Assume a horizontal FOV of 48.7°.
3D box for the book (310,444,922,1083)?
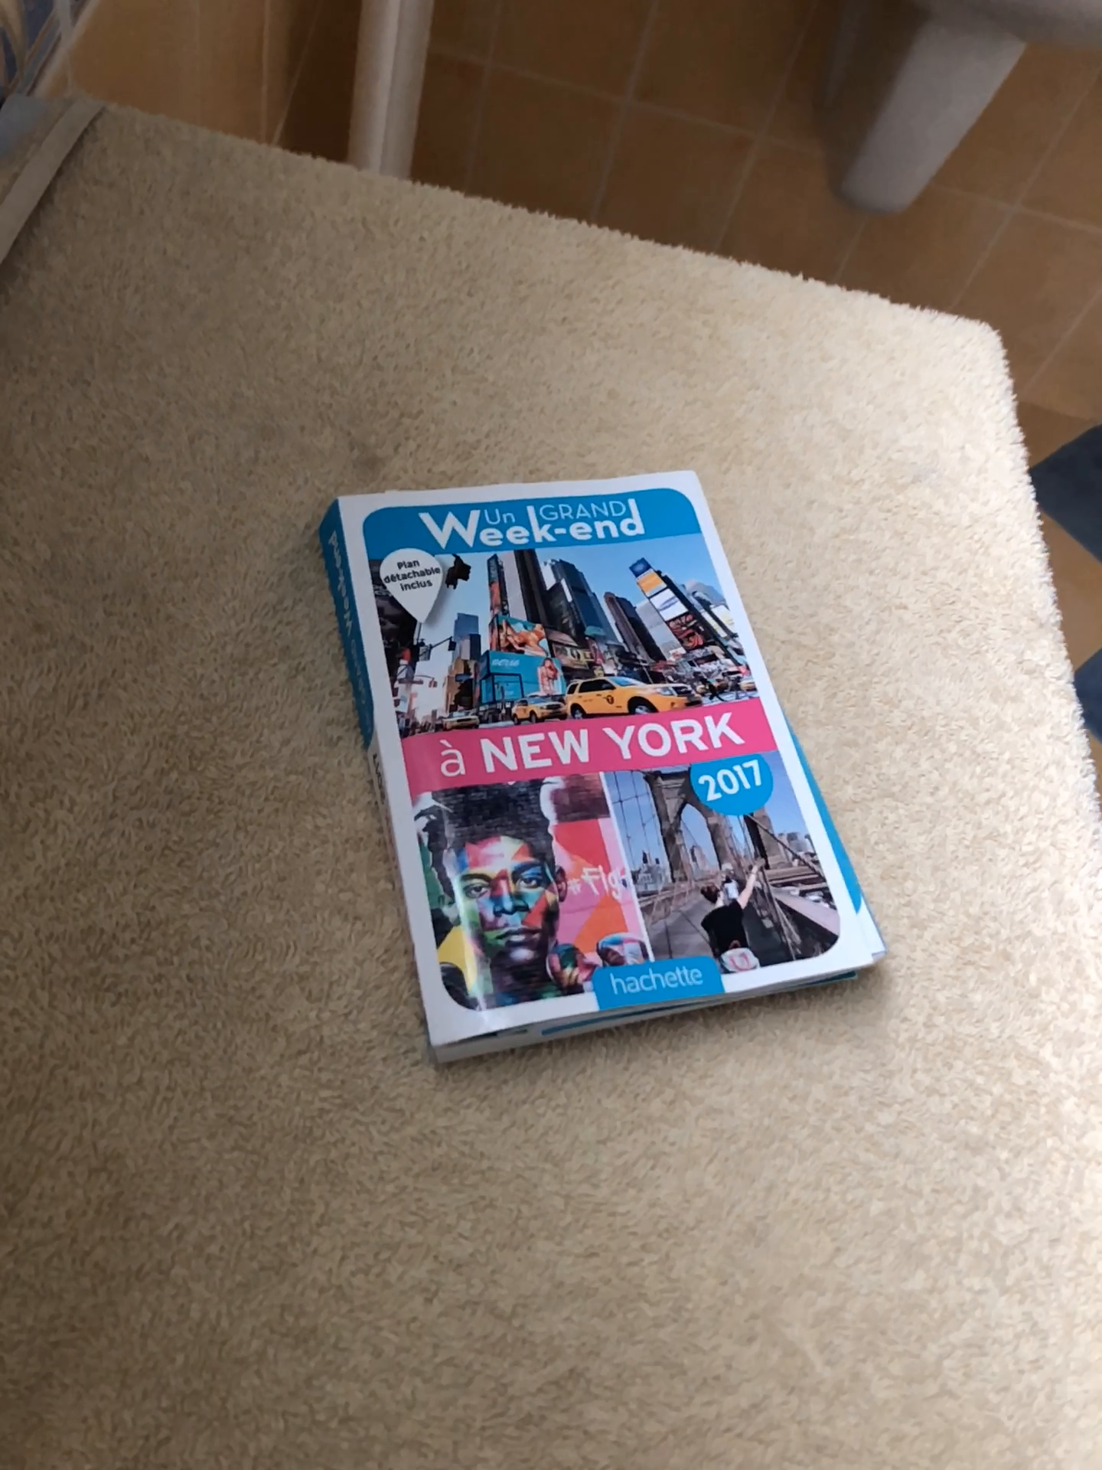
[{"bbox_3d":[0.009,-0.004,0.315,0.120,0.020,0.160,-8,61,-12],"label":"book"}]
